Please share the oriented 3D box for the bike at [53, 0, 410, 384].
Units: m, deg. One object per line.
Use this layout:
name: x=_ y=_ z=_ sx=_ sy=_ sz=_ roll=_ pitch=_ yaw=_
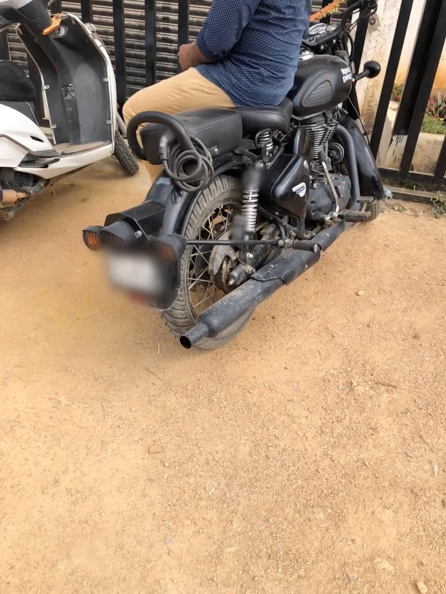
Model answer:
bike: x=0.167 y=-0.876 z=2.089 sx=0.722 sy=1.169 sz=1.818 roll=16 pitch=40 yaw=18
